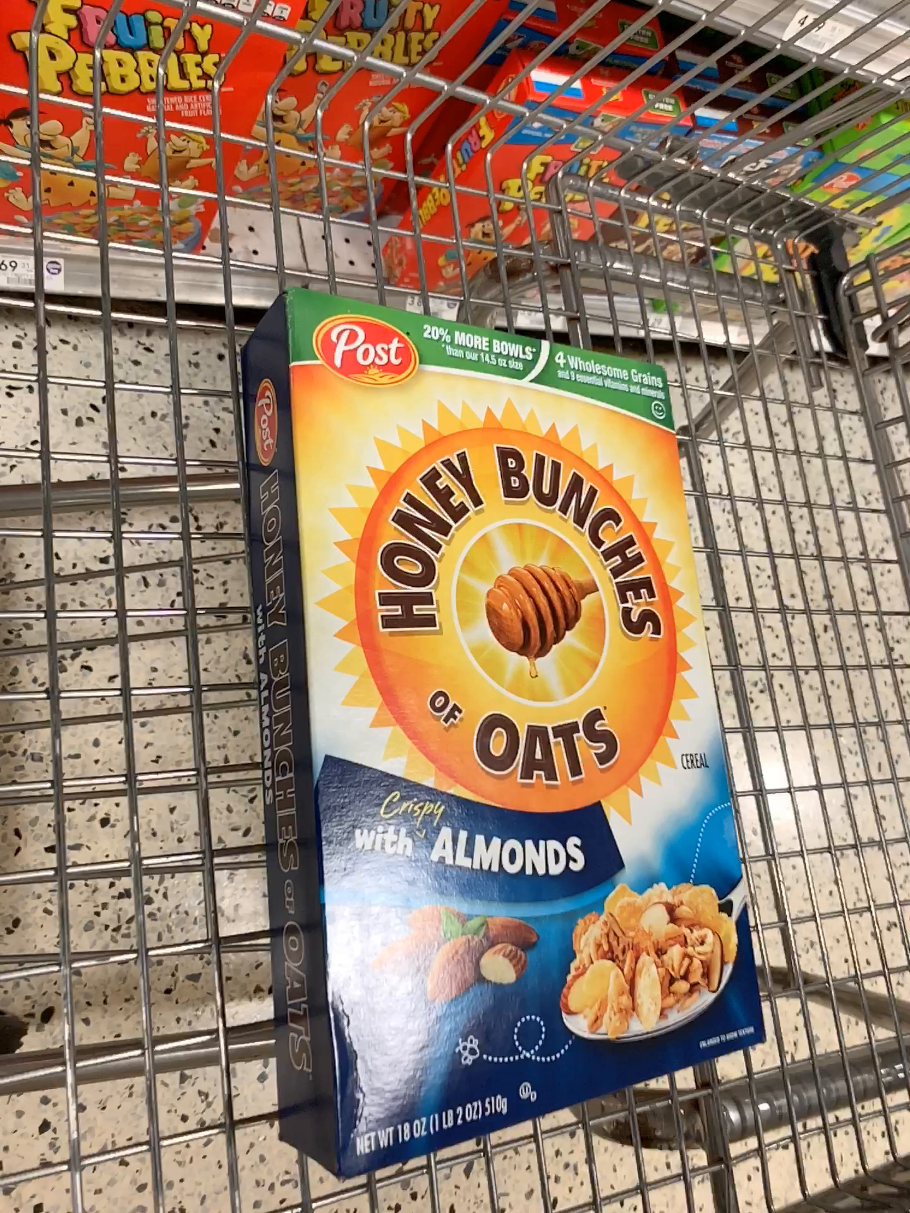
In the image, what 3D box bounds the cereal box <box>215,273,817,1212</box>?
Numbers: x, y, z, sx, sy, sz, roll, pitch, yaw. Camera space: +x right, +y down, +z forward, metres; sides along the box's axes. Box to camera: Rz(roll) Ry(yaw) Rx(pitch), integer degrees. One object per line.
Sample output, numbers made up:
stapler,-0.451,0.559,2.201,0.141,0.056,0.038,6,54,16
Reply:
cereal box,0.023,0.037,0.376,0.211,0.060,0.301,2,74,-31
